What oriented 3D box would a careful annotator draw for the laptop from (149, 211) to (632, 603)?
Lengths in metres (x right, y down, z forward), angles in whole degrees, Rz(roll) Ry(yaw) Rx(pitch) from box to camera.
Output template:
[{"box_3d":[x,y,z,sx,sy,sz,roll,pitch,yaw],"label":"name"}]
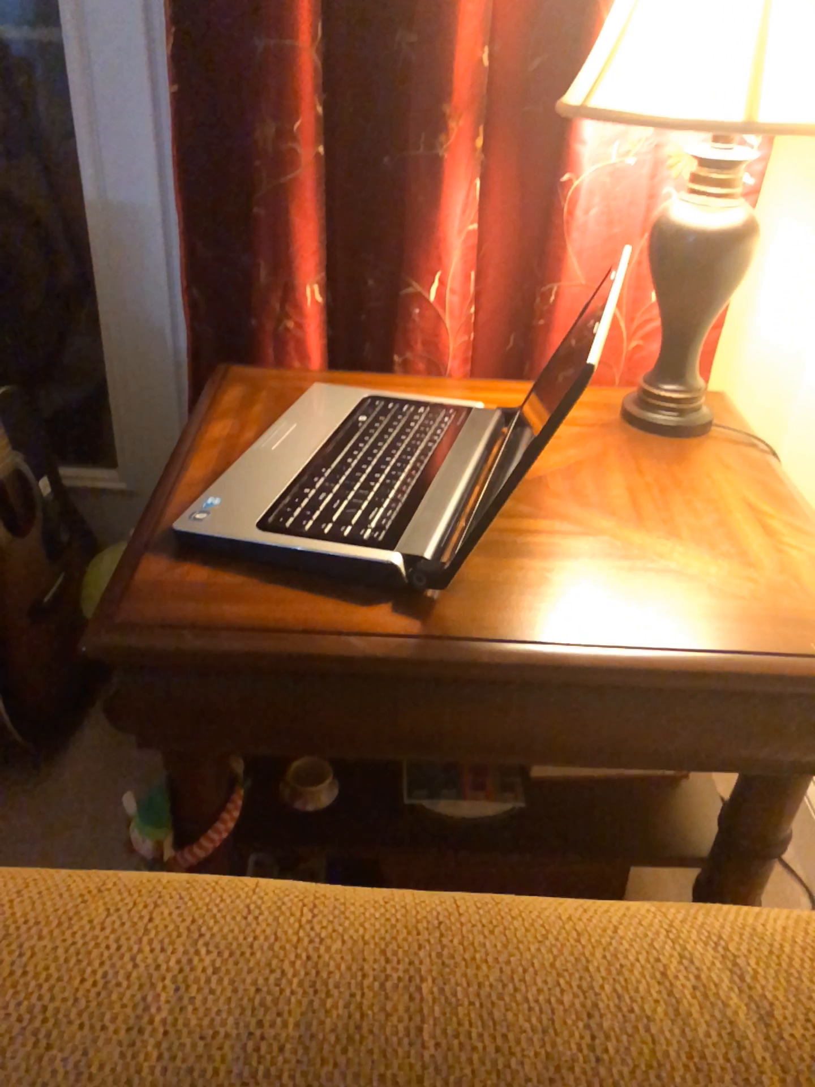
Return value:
[{"box_3d":[0.010,-0.161,0.872,0.350,0.204,0.364,11,33,11],"label":"laptop"}]
